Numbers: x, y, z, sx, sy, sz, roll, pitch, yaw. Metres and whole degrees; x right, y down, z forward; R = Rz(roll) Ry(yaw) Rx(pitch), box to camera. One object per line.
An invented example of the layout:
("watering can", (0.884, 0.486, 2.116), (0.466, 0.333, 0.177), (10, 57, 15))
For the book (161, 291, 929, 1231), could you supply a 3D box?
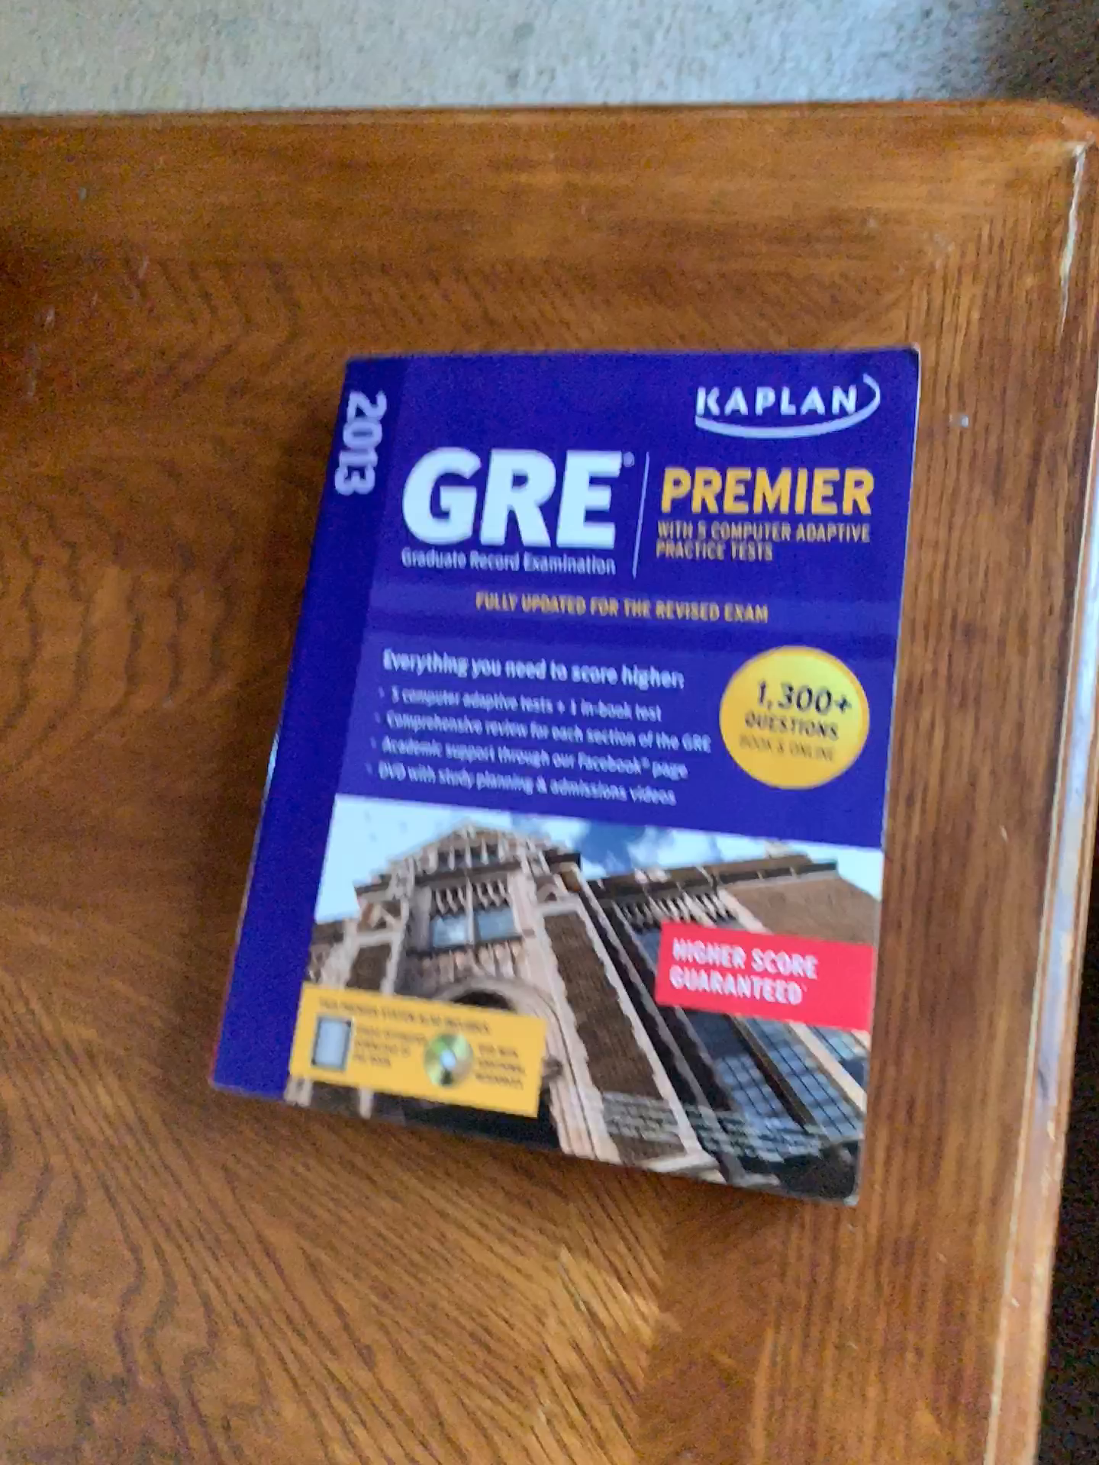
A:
("book", (0.005, -0.006, 0.399), (0.220, 0.060, 0.290), (5, 78, 15))
